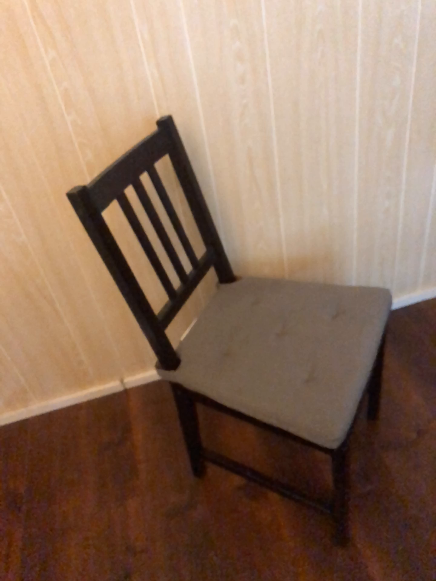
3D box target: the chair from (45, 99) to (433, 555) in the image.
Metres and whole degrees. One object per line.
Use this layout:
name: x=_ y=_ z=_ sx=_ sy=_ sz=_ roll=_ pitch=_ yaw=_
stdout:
chair: x=0.113 y=0.085 z=1.055 sx=0.511 sy=0.834 sz=0.442 roll=10 pitch=44 yaw=25
